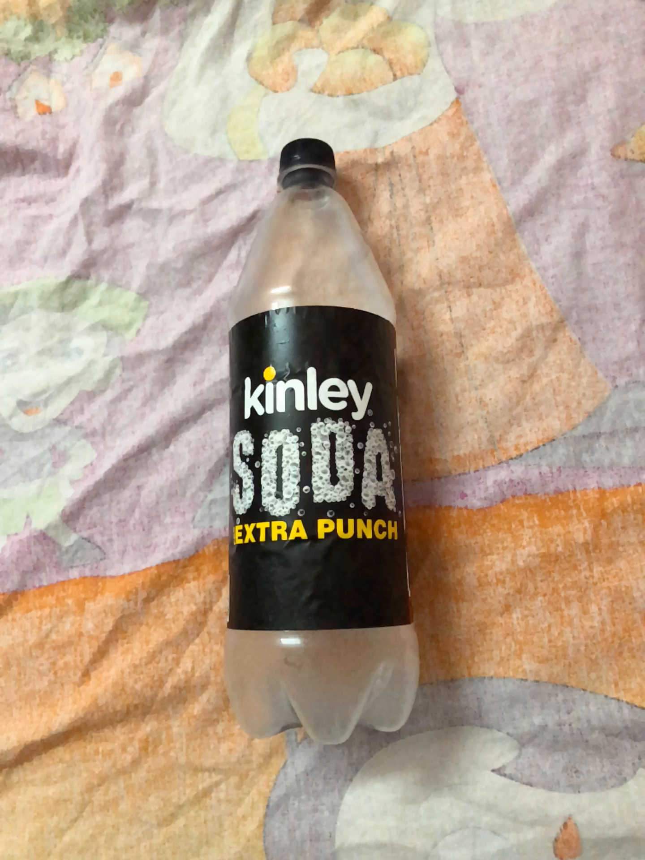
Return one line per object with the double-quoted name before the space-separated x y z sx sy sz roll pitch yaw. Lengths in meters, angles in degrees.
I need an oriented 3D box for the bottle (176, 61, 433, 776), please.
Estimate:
"bottle" -0.008 -0.007 0.321 0.090 0.080 0.280 -3 83 4
